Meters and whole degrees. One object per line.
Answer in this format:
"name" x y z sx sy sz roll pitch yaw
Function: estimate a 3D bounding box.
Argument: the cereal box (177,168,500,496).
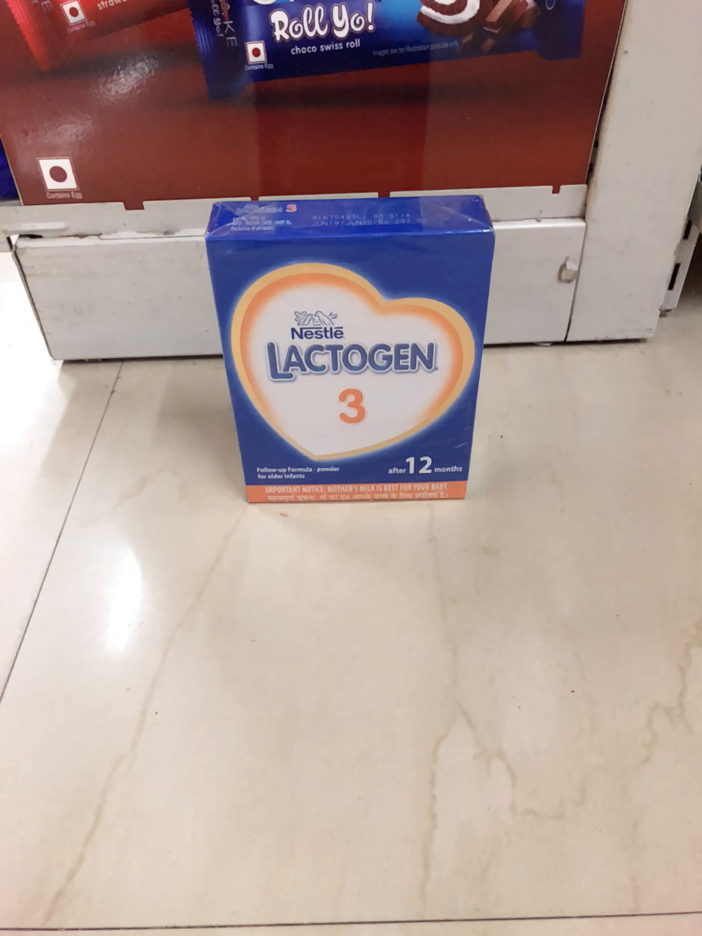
"cereal box" -0.003 -0.073 0.469 0.160 0.189 0.060 -1 42 1
